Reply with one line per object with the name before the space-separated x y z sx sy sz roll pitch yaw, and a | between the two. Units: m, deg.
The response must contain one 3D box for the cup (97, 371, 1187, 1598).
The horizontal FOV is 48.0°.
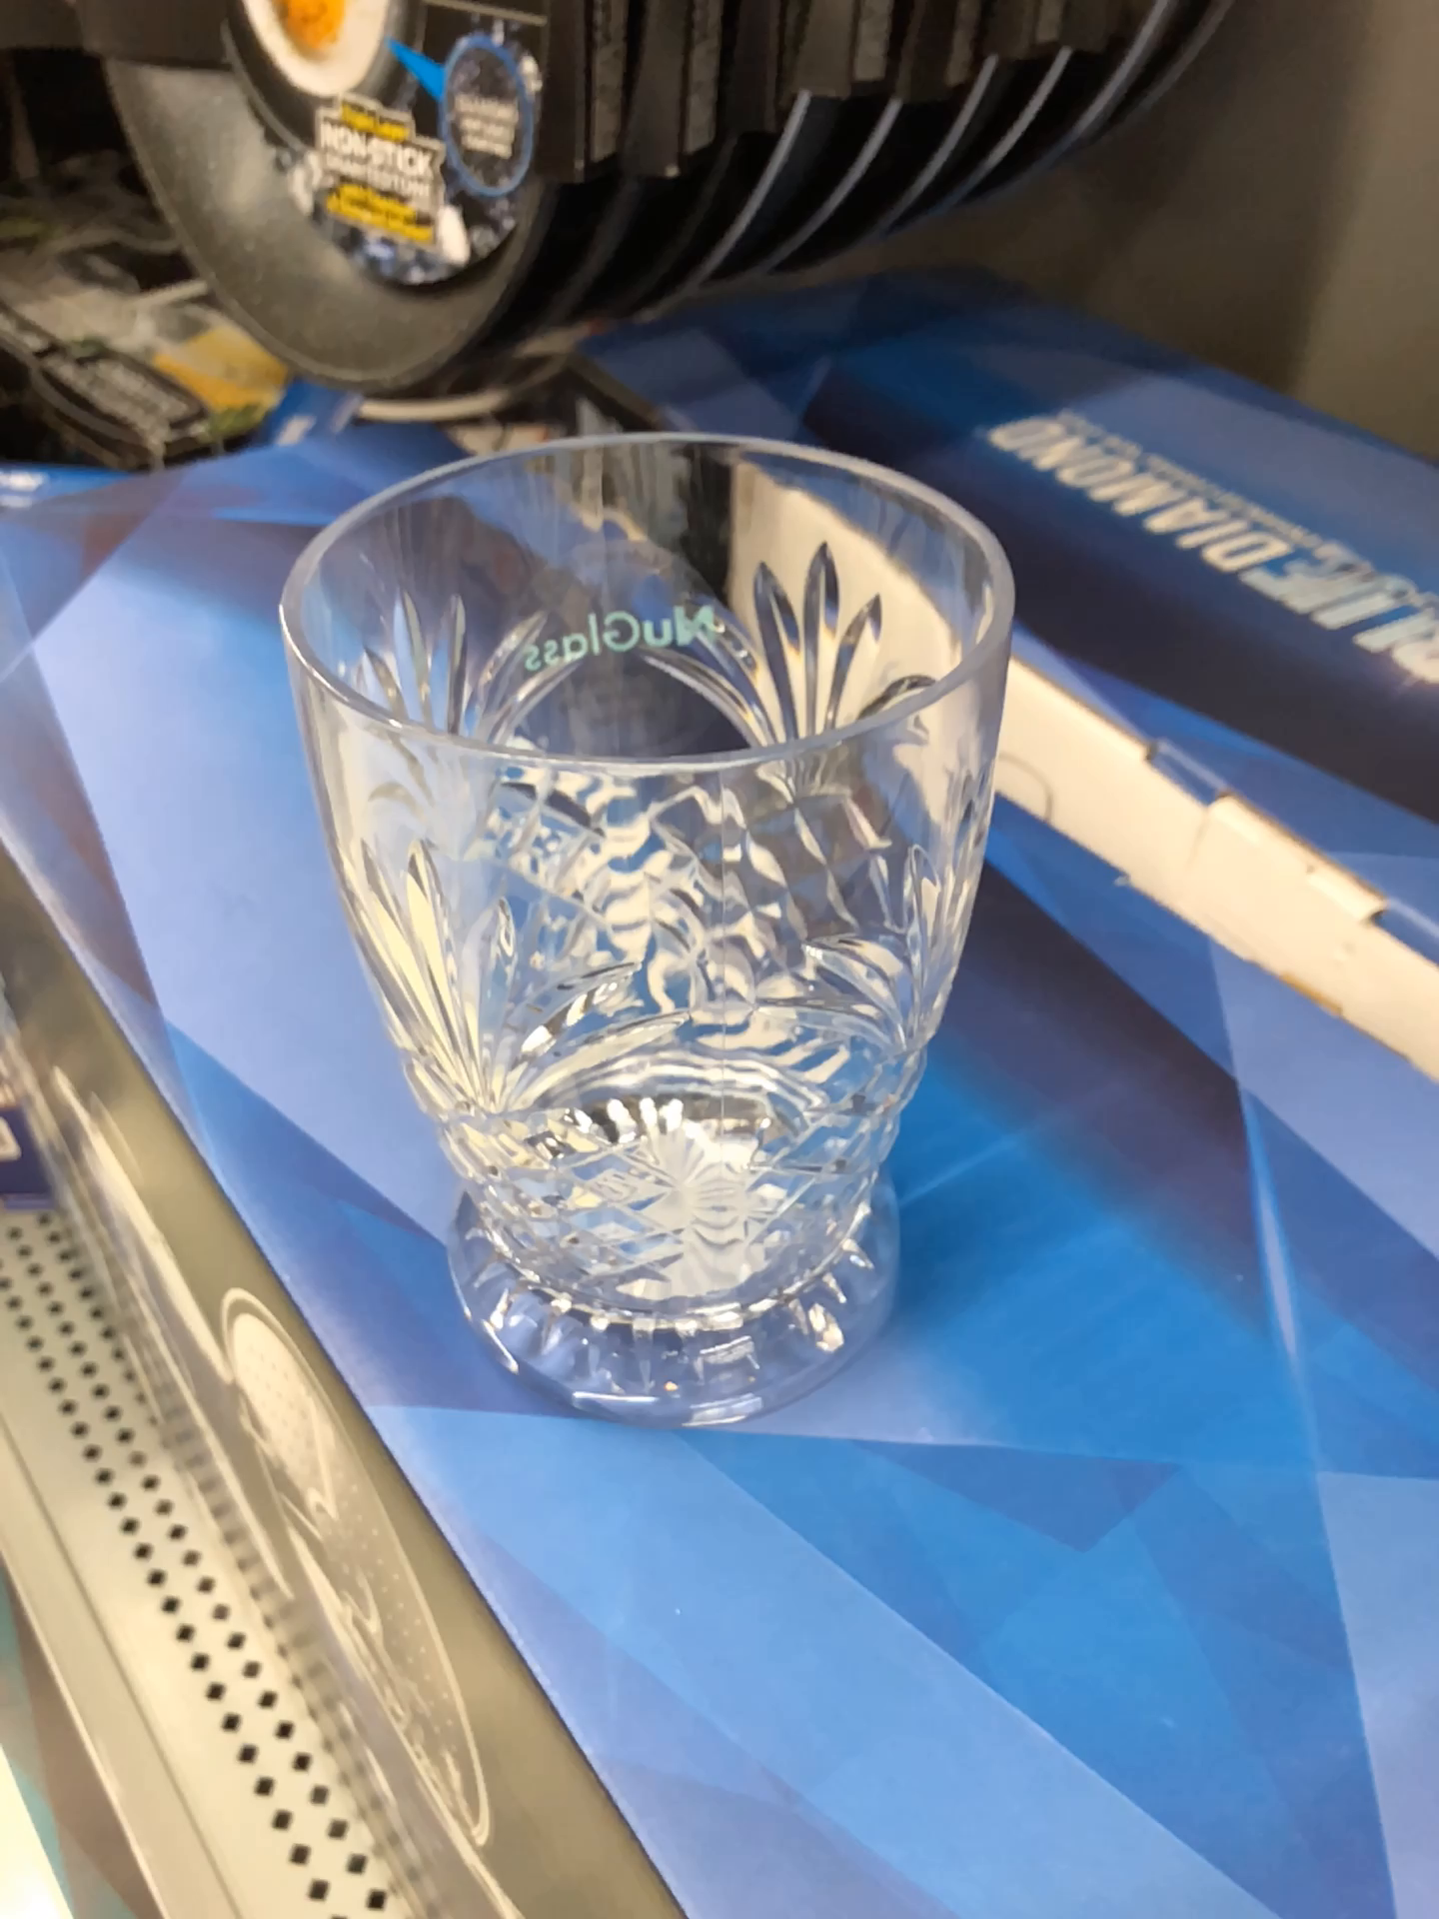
cup | -0.010 -0.001 0.222 0.088 0.113 0.092 -1 39 0
